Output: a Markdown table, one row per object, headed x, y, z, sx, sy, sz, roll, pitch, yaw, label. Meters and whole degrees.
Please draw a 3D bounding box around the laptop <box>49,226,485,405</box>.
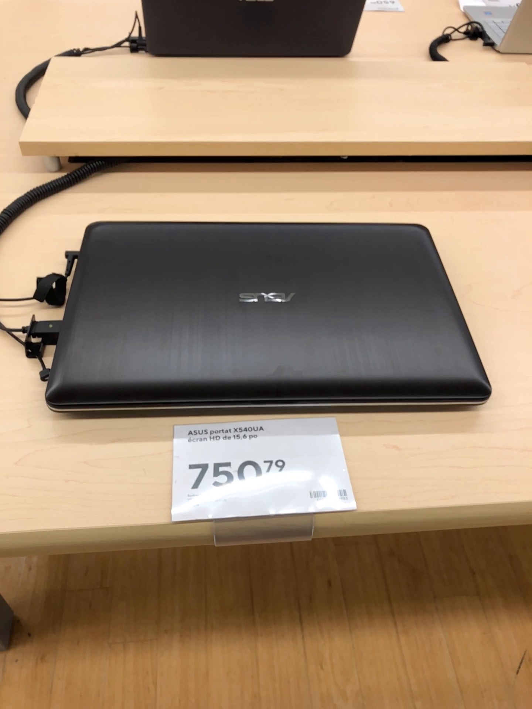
| x | y | z | sx | sy | sz | roll | pitch | yaw | label |
| --- | --- | --- | --- | --- | --- | --- | --- | --- | --- |
| 0.001 | -0.050 | 0.575 | 0.369 | 0.010 | 0.228 | -1 | 50 | -4 | laptop |
